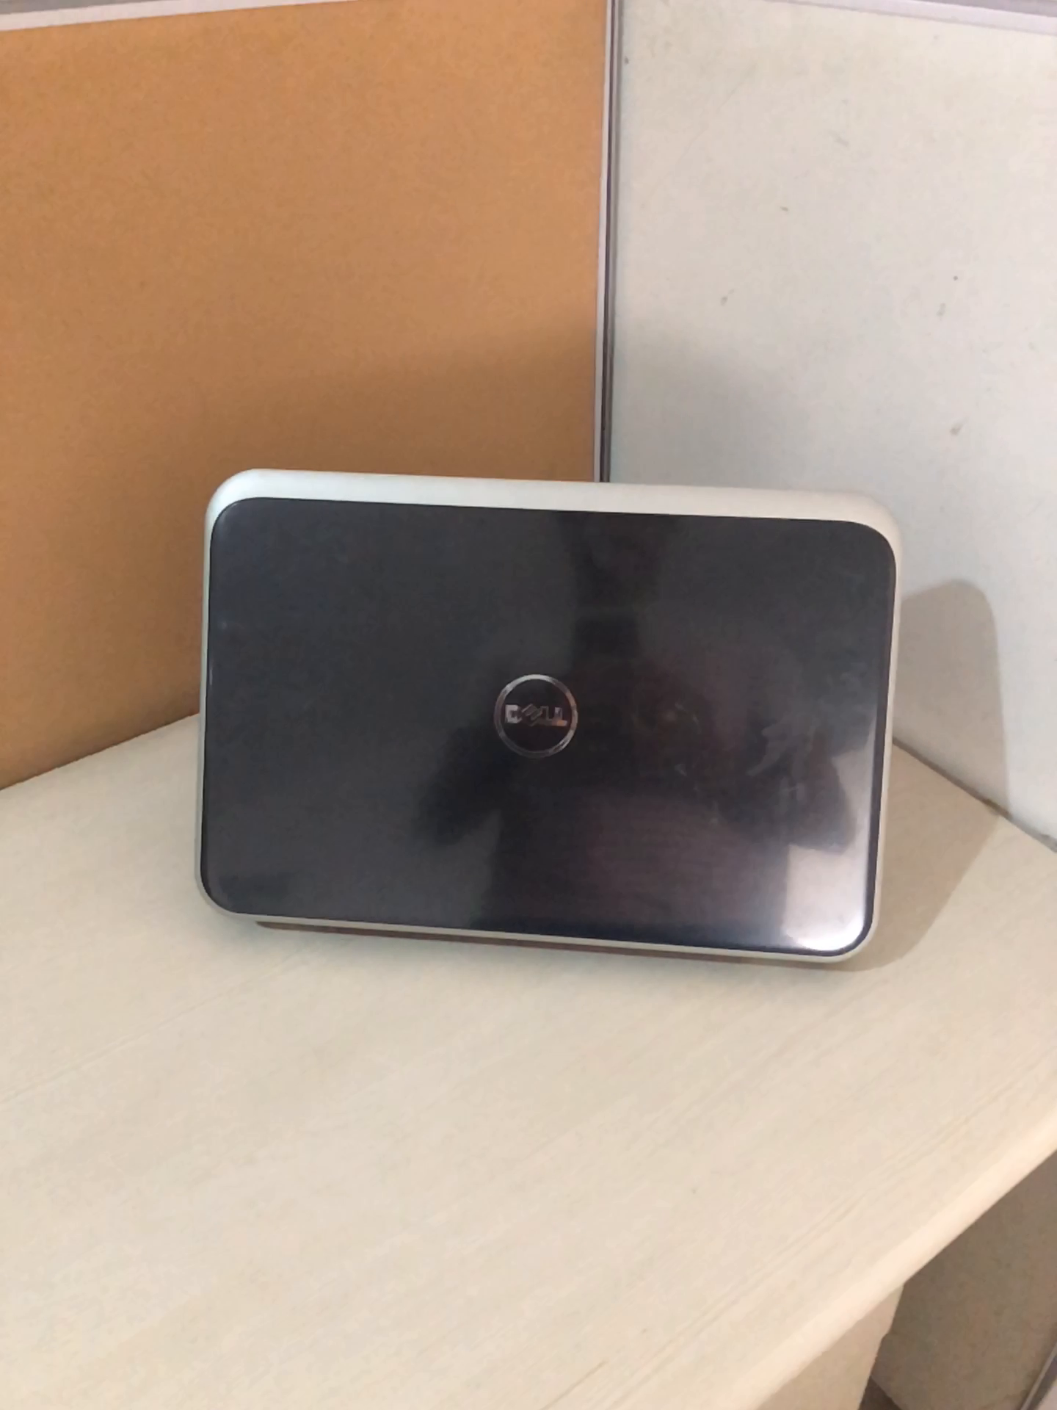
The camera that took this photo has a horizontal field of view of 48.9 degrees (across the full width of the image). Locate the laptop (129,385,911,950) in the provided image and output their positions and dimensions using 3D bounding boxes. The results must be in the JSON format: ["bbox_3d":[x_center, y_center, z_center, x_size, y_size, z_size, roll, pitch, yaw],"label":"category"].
[{"bbox_3d":[0.010,-0.033,0.665,0.347,0.192,0.241,4,37,5],"label":"laptop"}]
